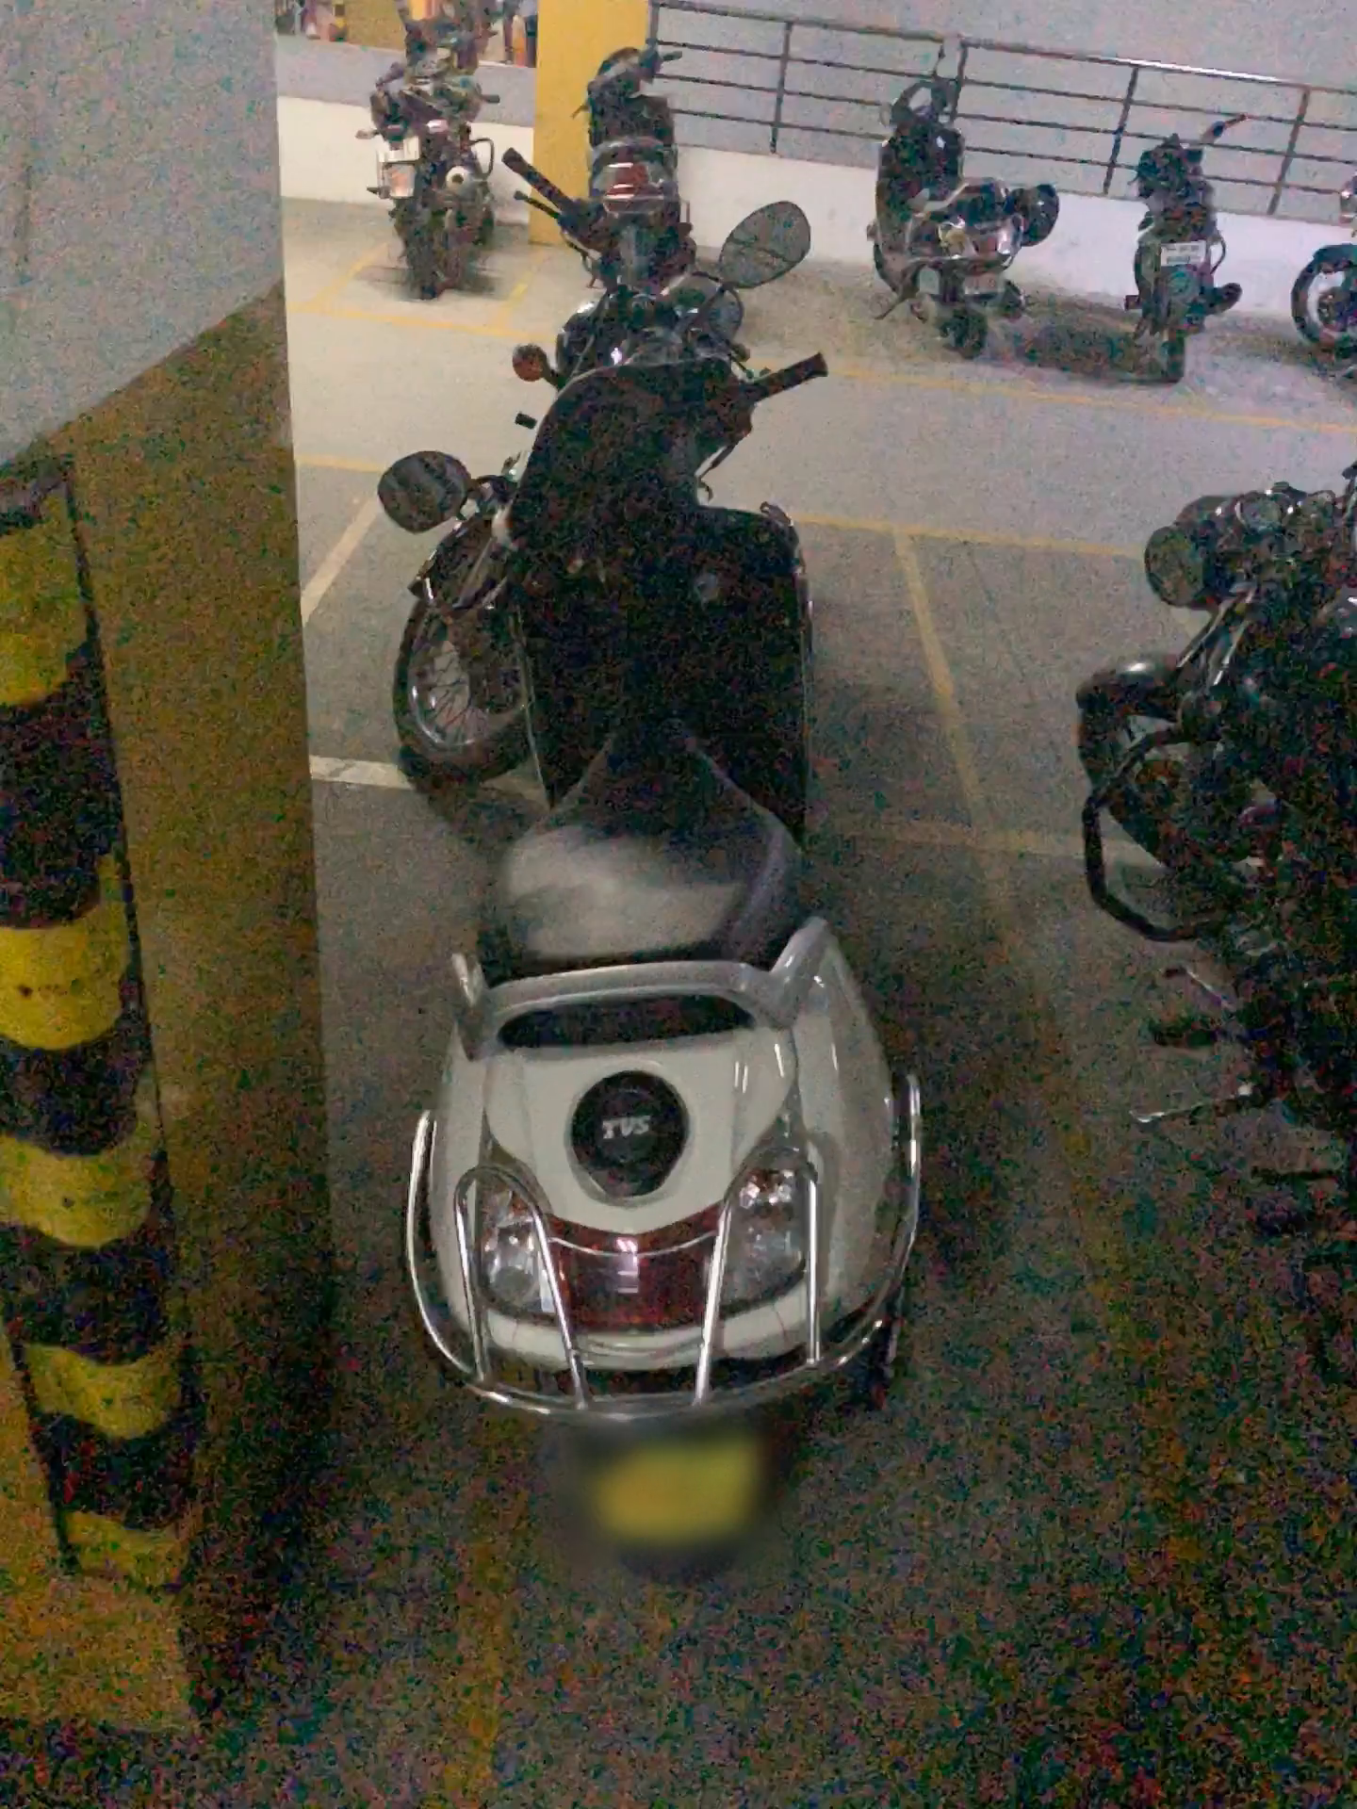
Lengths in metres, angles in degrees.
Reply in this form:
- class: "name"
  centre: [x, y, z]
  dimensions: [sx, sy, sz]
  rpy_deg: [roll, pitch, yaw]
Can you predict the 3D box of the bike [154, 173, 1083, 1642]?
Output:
- class: "bike"
  centre: [-0.102, -0.134, 1.871]
  dimensions: [0.647, 1.158, 1.539]
  rpy_deg: [5, 37, -4]
